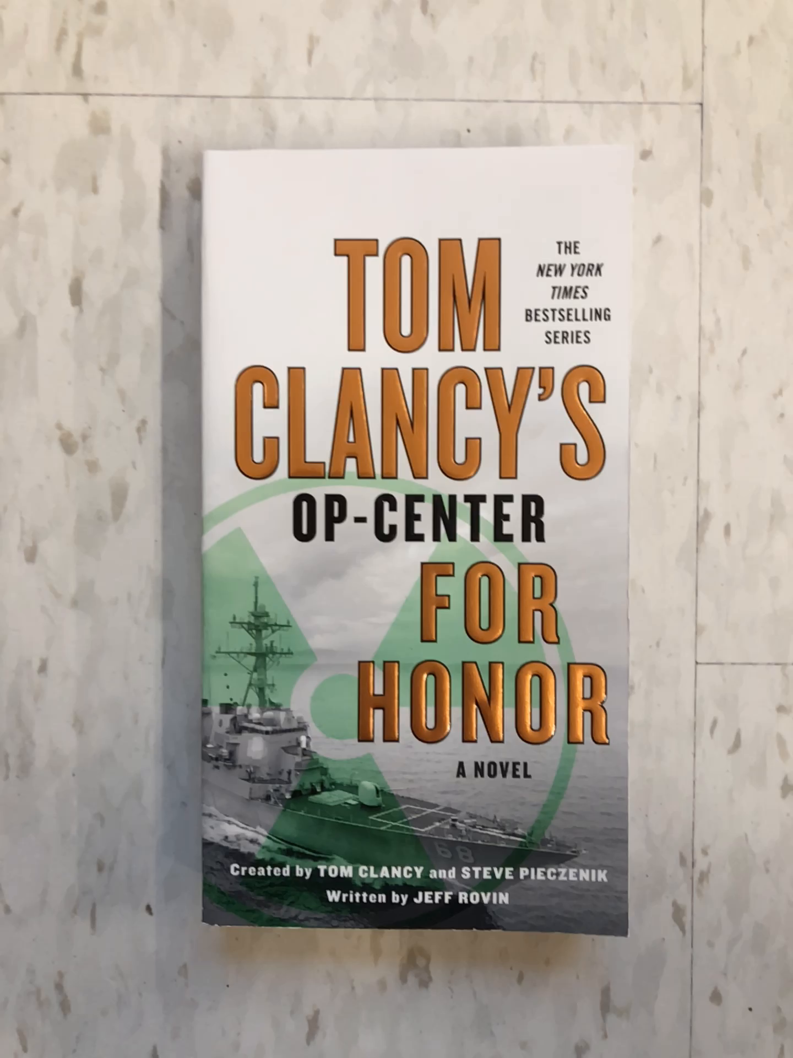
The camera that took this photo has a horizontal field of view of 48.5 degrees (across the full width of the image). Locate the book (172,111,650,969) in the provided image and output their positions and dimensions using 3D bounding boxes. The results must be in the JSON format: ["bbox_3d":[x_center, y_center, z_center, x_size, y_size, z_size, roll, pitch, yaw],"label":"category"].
[{"bbox_3d":[0.003,0.002,0.232,0.110,0.050,0.200,-1,90,-1],"label":"book"}]
